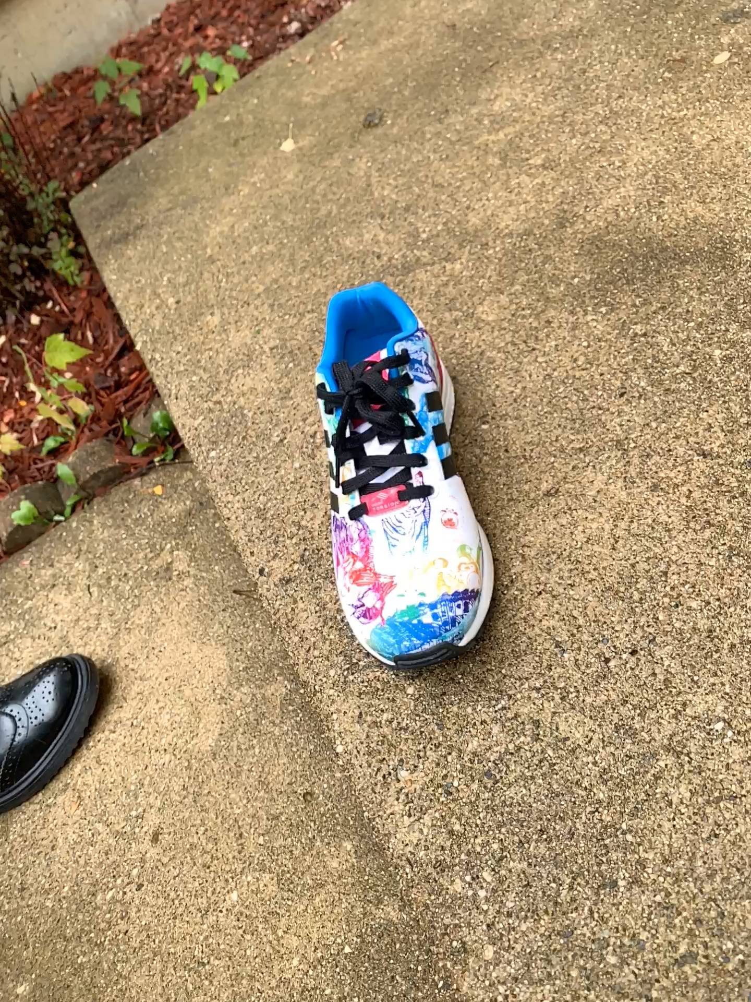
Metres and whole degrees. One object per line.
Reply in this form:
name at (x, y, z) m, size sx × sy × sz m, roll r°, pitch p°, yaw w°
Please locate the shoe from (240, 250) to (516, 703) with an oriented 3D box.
shoe at (0.004, -0.022, 0.472) m, size 0.110 × 0.104 × 0.246 m, roll -15°, pitch 49°, yaw 17°
